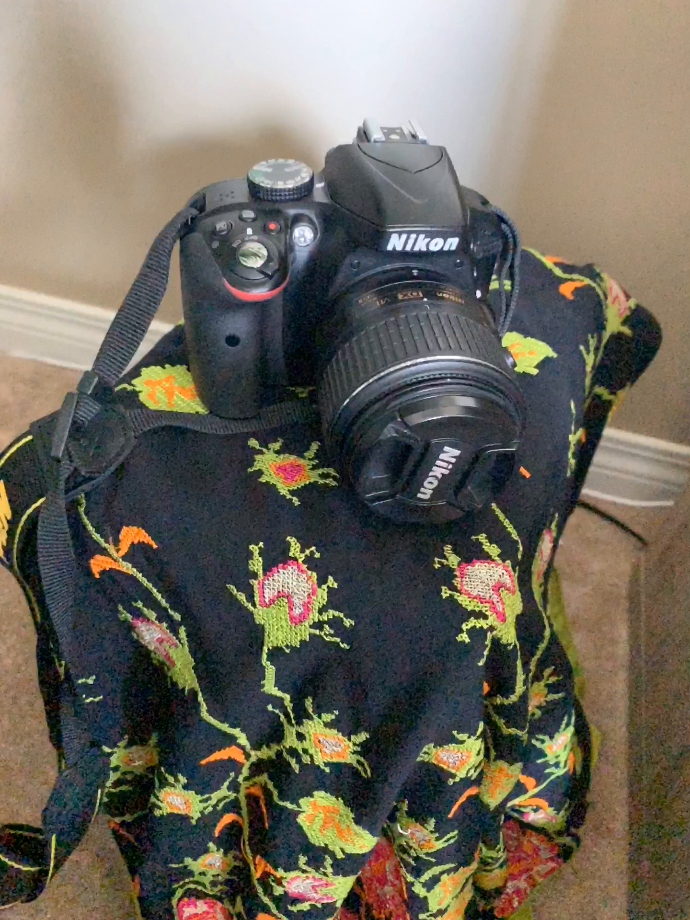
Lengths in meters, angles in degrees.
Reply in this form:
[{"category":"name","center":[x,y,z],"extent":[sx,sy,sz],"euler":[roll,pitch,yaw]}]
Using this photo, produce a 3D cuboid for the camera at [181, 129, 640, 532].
[{"category":"camera","center":[0.010,-0.047,0.251],"extent":[0.120,0.099,0.091],"euler":[-5,46,-11]}]
